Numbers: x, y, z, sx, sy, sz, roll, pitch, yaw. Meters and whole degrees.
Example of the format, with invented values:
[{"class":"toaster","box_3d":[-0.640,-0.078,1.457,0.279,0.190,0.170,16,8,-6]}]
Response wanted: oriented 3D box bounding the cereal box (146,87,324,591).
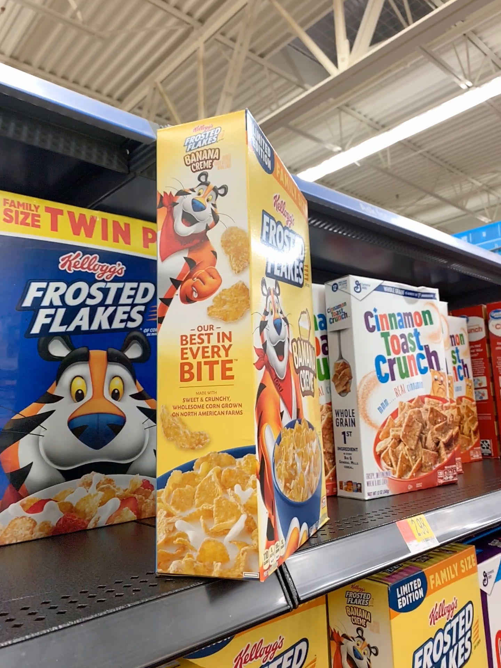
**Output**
[{"class":"cereal box","box_3d":[-0.004,0.006,0.451,0.080,0.341,0.200,-5,-10,19]}]
